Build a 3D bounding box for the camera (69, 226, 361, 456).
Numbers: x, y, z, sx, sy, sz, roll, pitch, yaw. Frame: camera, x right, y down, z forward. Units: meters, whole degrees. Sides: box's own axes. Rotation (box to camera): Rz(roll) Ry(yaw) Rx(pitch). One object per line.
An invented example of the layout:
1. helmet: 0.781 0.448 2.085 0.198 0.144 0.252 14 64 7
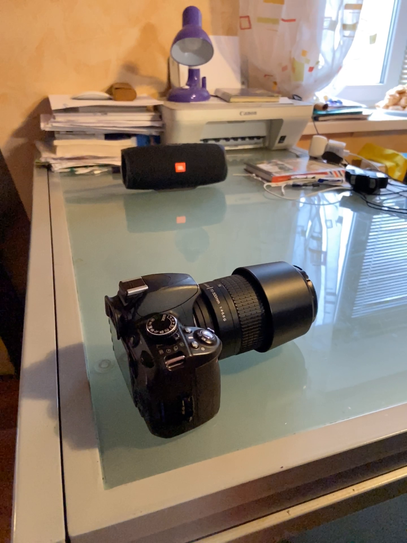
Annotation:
1. camera: 0.004 0.043 0.375 0.209 0.099 0.135 -11 29 -22
